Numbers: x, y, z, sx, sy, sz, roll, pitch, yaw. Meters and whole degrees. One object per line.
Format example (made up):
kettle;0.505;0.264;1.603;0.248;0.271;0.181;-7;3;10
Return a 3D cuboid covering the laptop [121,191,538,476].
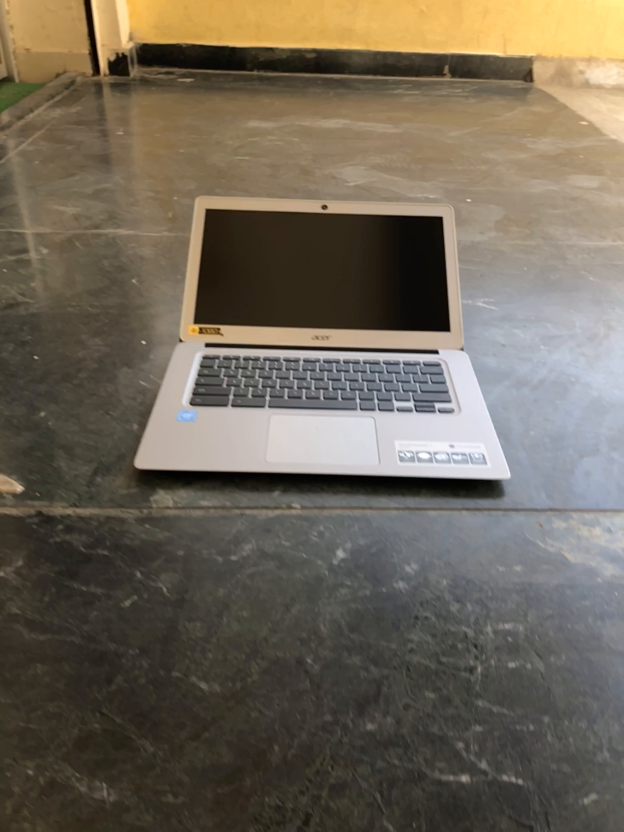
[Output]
laptop;0.015;-0.120;0.765;0.338;0.117;0.427;2;35;-1
